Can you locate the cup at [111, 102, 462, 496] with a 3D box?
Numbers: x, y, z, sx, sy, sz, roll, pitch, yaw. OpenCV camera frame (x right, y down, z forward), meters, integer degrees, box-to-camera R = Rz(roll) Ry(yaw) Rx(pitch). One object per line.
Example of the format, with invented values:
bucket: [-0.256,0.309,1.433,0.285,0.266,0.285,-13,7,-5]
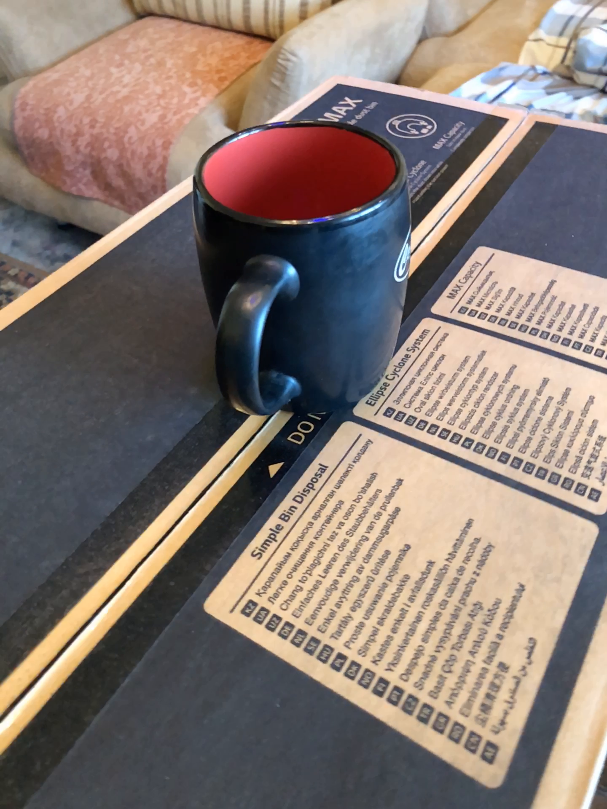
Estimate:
cup: [0.002,-0.048,0.274,0.090,0.090,0.120,13,49,14]
